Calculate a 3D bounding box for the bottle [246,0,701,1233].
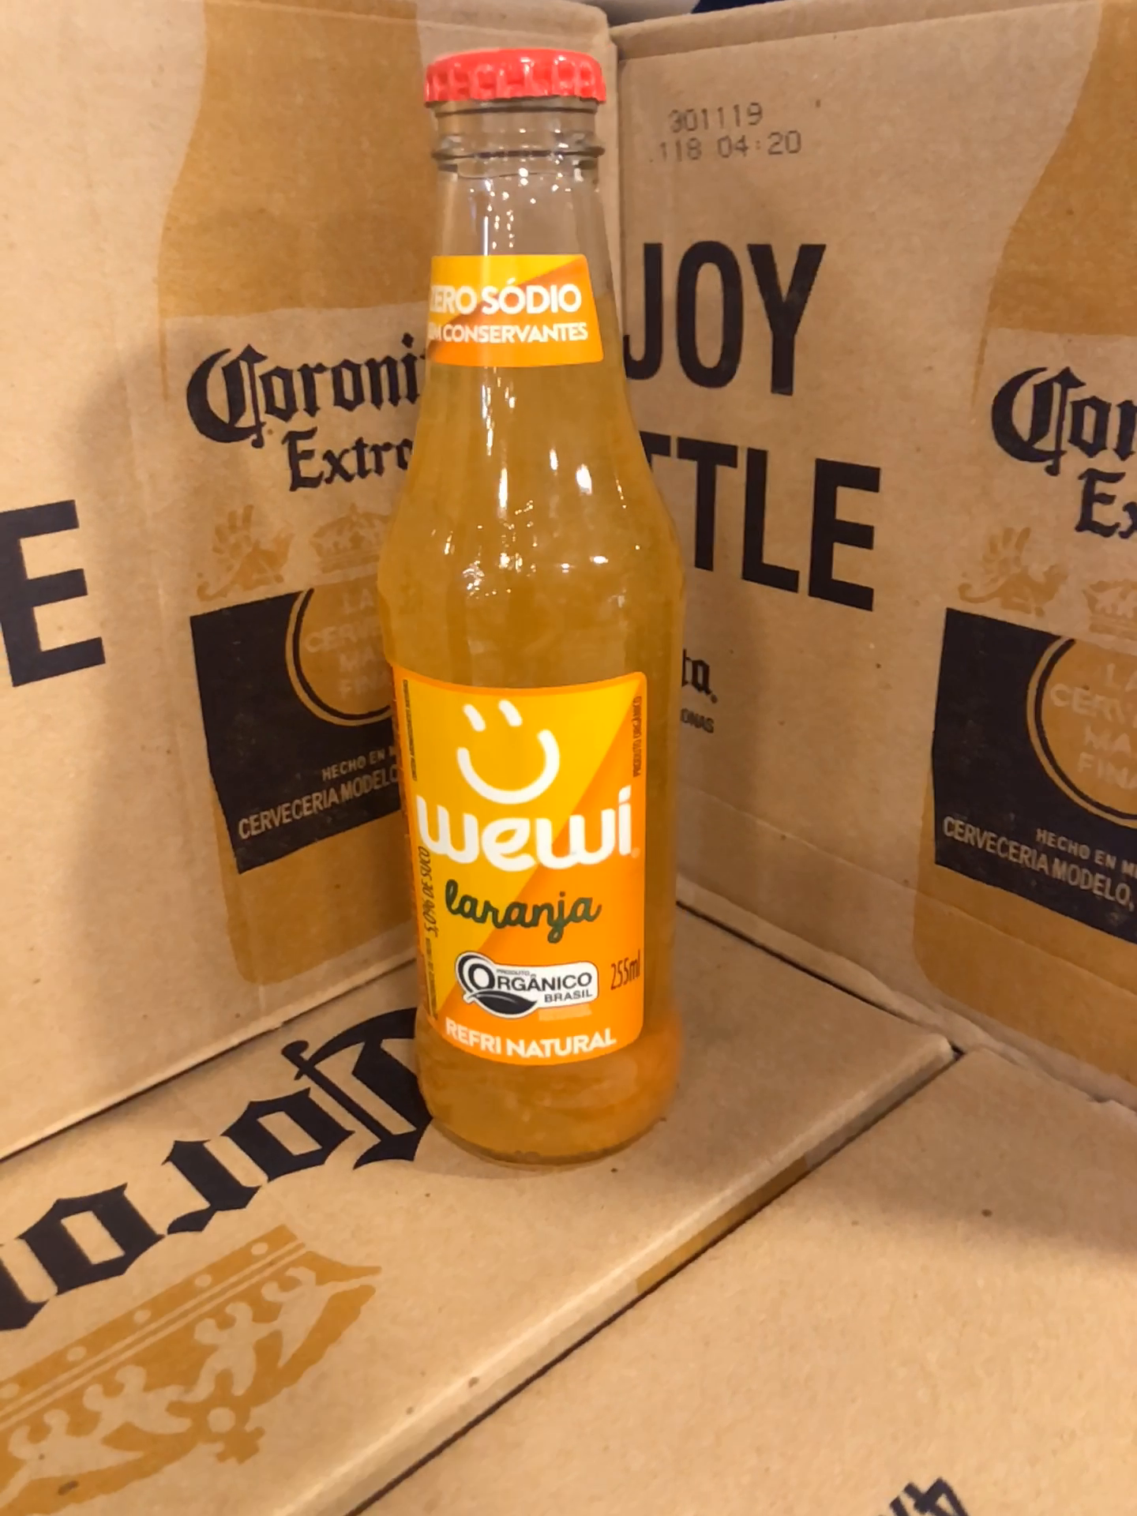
[{"bbox_3d":[-0.010,-0.017,0.239,0.060,0.209,0.060,-1,22,0],"label":"bottle"}]
